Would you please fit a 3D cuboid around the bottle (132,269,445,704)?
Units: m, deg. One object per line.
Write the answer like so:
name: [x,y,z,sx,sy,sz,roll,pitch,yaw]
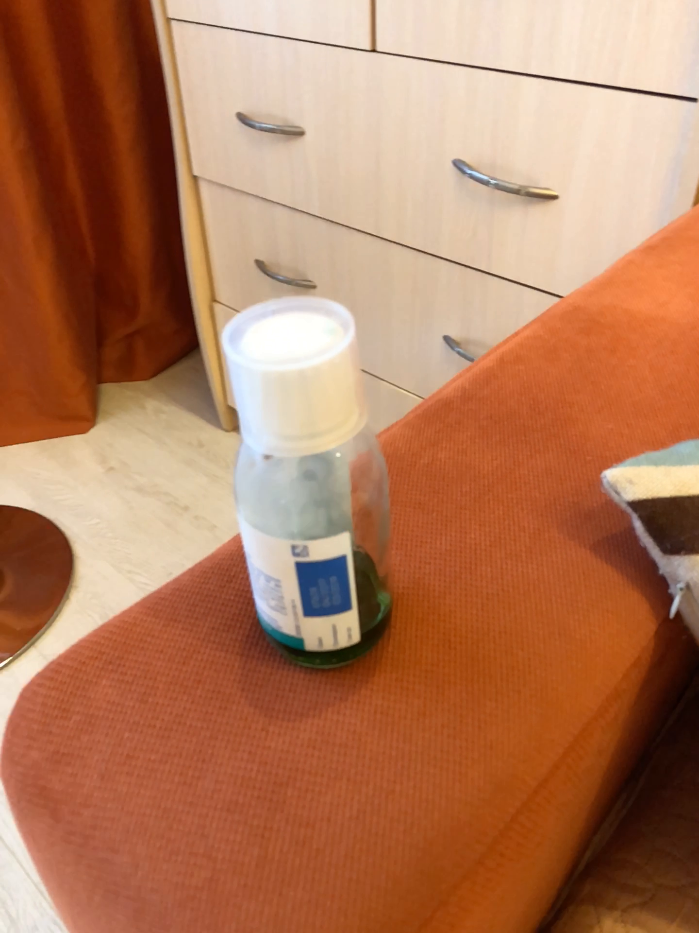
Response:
bottle: [-0.014,0.006,0.240,0.060,0.106,0.060,-1,38,1]
